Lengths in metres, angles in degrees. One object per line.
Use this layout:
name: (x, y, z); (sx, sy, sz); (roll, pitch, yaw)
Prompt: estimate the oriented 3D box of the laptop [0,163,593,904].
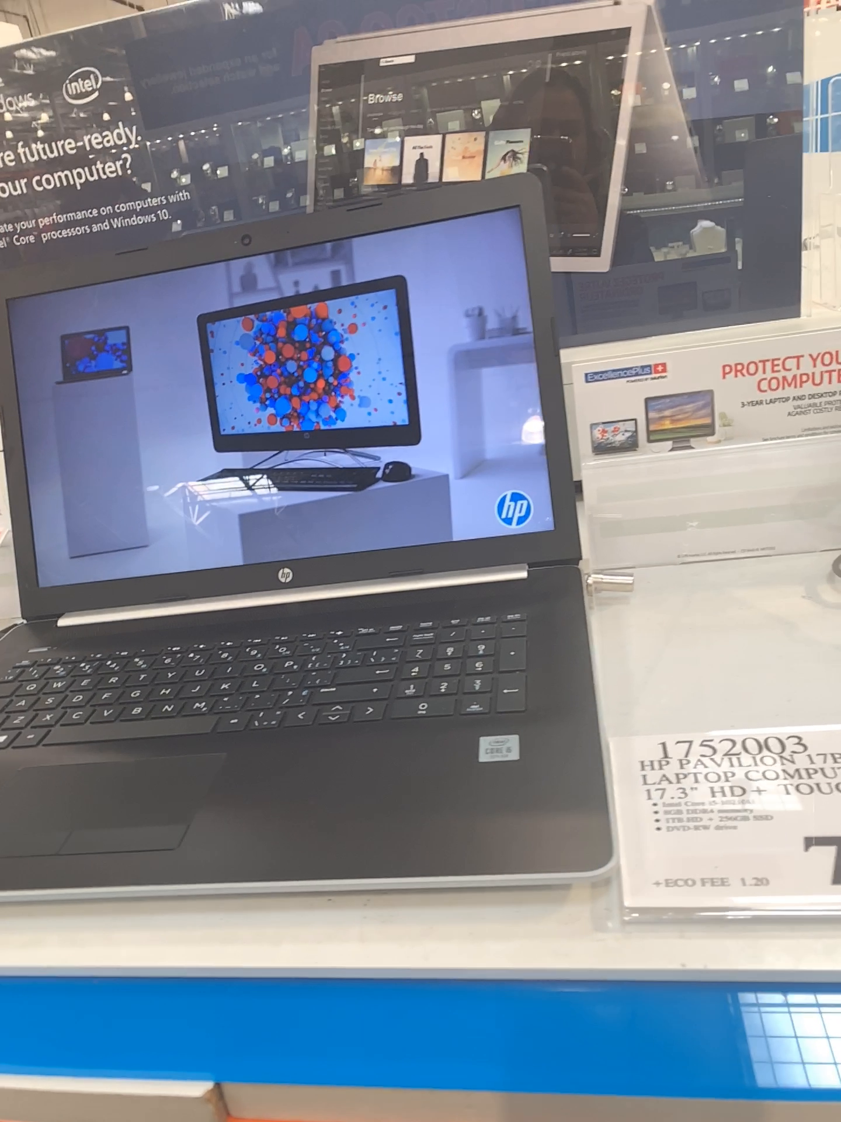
laptop: (-0.126, -0.049, 0.473); (0.394, 0.234, 0.371); (-6, 22, 10)
